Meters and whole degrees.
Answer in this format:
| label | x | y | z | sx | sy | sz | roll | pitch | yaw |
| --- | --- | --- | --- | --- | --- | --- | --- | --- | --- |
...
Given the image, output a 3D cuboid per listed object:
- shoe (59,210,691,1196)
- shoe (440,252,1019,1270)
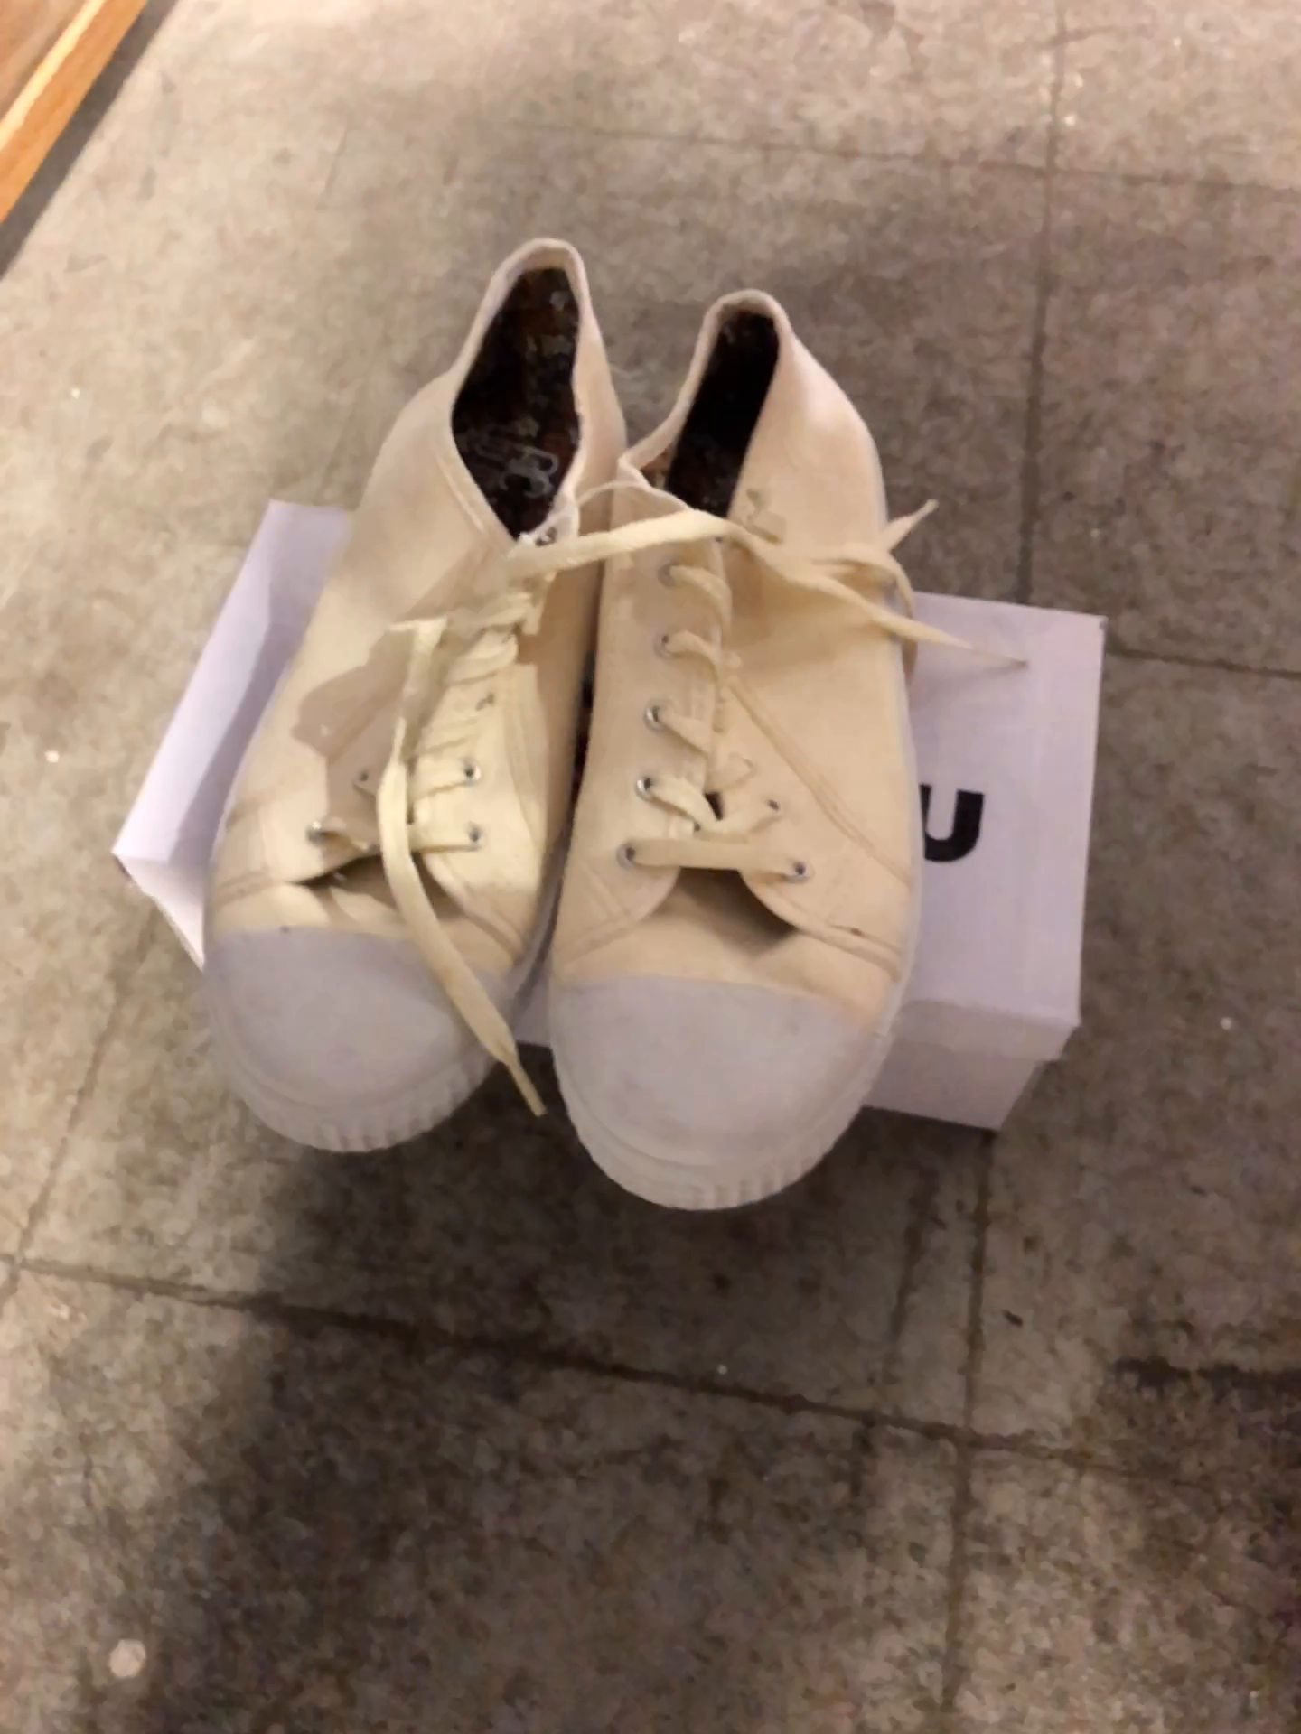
| label | x | y | z | sx | sy | sz | roll | pitch | yaw |
| --- | --- | --- | --- | --- | --- | --- | --- | --- | --- |
| shoe | -0.055 | -0.056 | 0.392 | 0.090 | 0.080 | 0.261 | 8 | 61 | 6 |
| shoe | 0.031 | -0.039 | 0.374 | 0.100 | 0.080 | 0.251 | 8 | 61 | 6 |
